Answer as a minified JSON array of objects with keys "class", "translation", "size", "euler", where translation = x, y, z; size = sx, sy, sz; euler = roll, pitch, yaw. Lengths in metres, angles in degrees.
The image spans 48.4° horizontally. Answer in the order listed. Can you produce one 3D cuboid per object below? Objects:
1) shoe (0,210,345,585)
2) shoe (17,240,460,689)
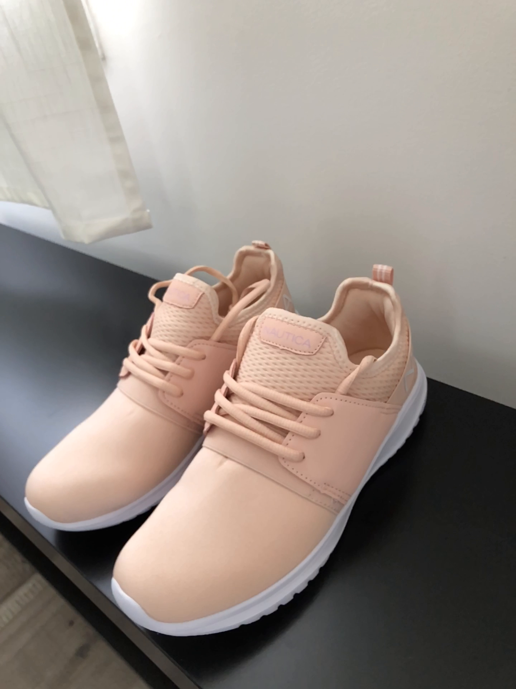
[{"class":"shoe","translation":[-0.055,0.016,0.404],"size":[0.100,0.109,0.250],"euler":[21,47,37]},{"class":"shoe","translation":[0.012,0.050,0.334],"size":[0.100,0.109,0.240],"euler":[21,47,37]}]
